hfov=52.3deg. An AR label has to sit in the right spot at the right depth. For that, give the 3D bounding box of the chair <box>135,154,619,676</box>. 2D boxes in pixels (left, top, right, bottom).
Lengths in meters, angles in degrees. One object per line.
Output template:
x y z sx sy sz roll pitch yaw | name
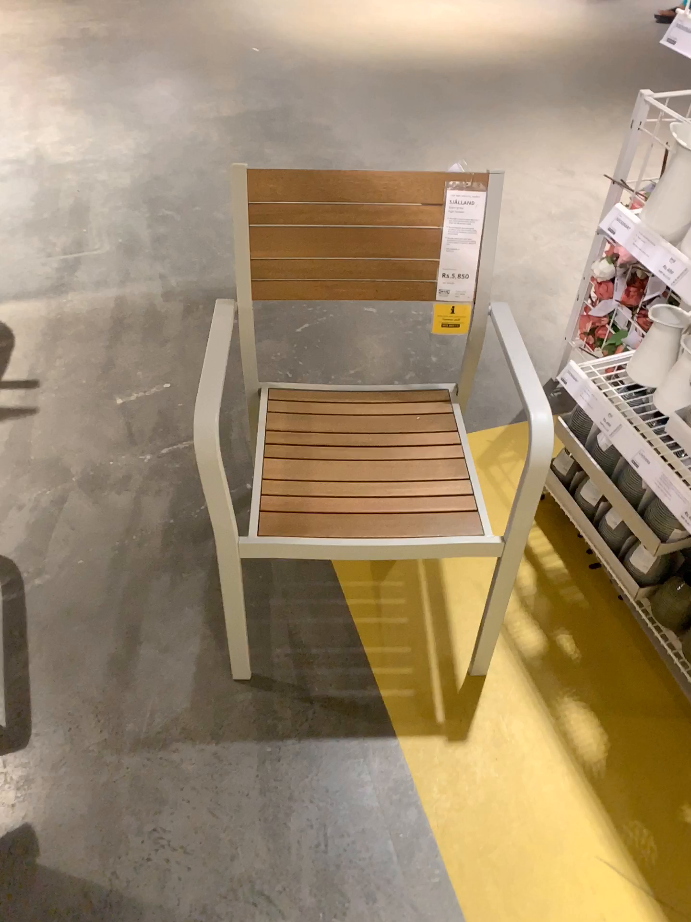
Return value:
0.024 -0.062 1.284 0.560 0.727 0.602 0 46 -2 | chair
